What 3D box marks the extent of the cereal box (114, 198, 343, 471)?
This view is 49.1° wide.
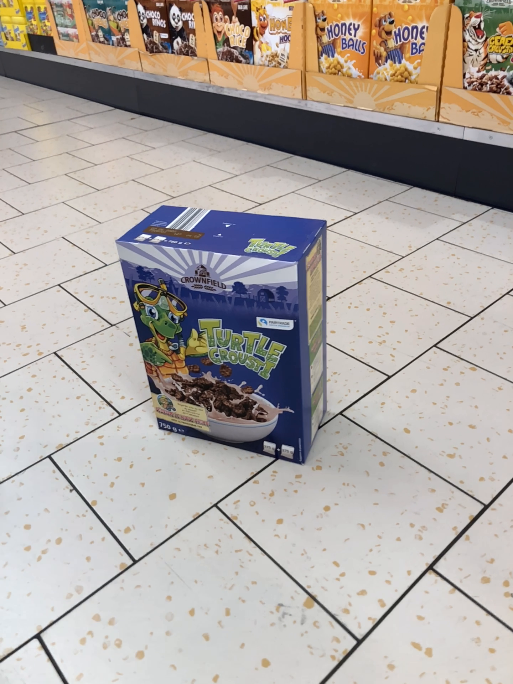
[{"bbox_3d":[-0.017,-0.008,0.618,0.200,0.258,0.101,10,36,20],"label":"cereal box"}]
